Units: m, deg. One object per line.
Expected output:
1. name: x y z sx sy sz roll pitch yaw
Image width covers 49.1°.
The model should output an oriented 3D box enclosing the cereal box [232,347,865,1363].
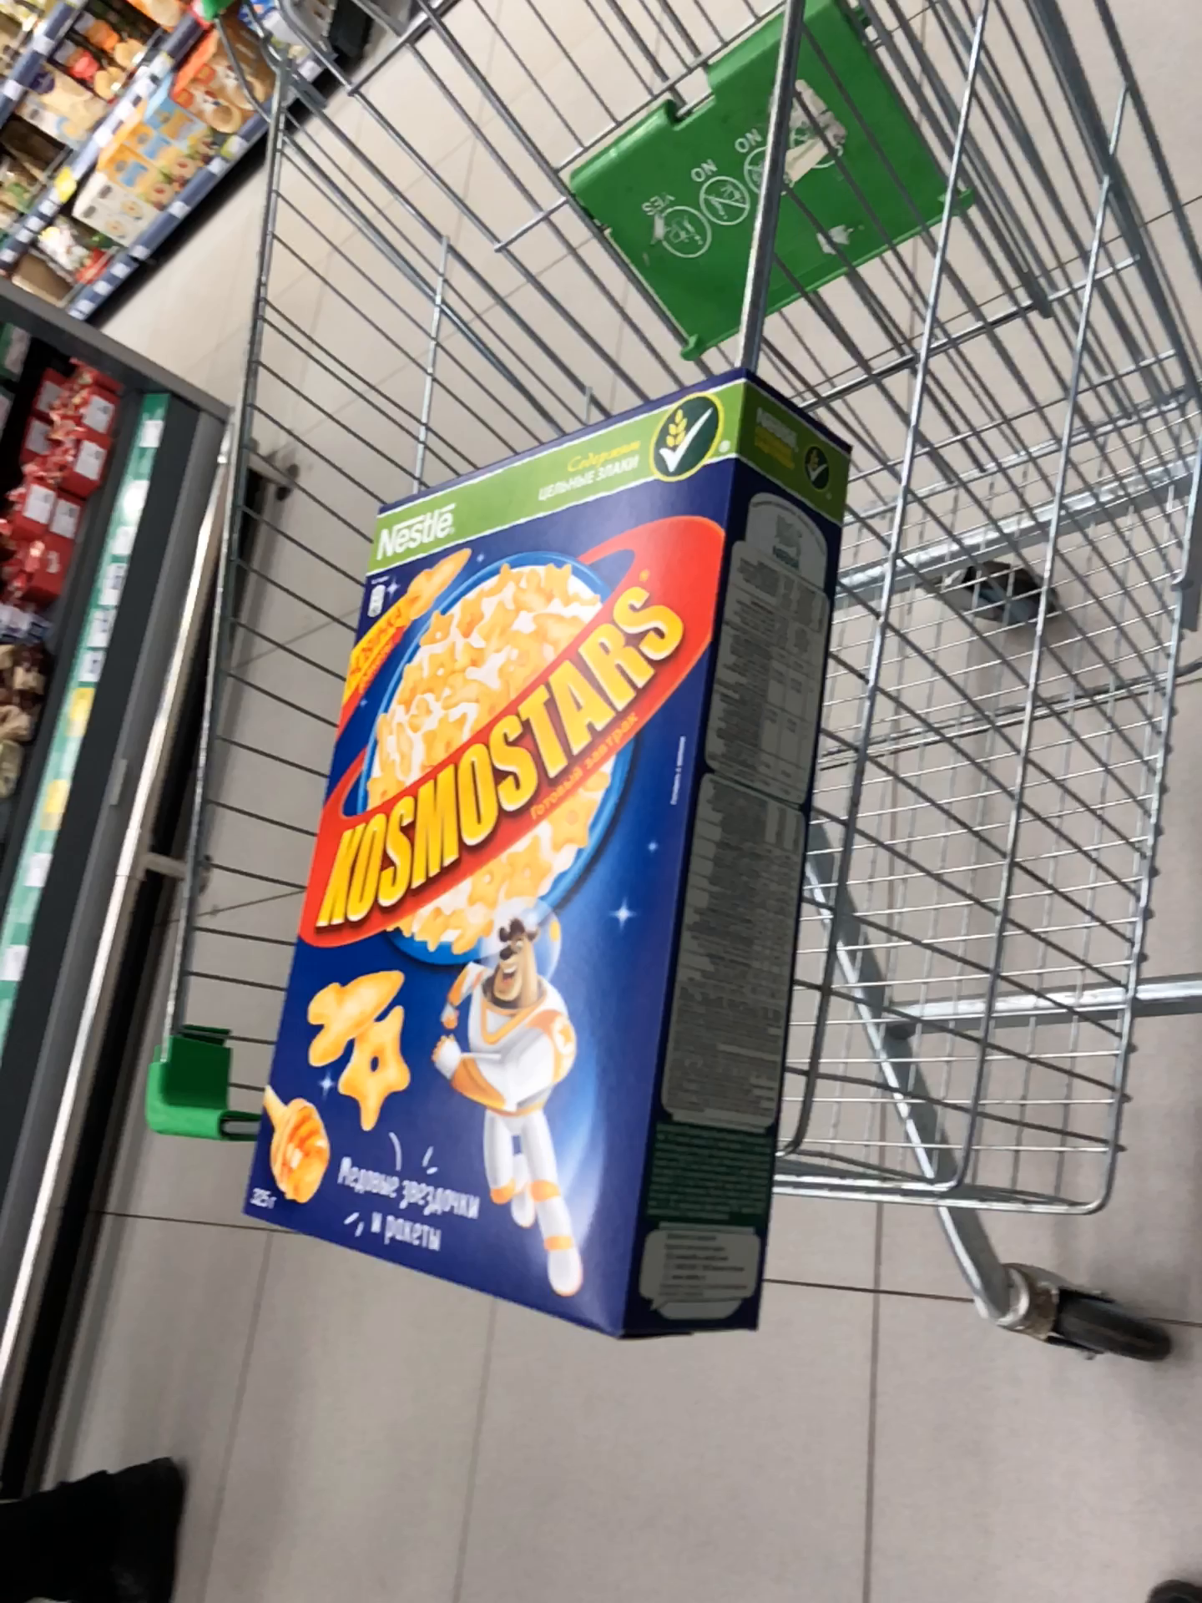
1. cereal box: -0.023 0.017 0.446 0.201 0.060 0.280 -7 70 47
